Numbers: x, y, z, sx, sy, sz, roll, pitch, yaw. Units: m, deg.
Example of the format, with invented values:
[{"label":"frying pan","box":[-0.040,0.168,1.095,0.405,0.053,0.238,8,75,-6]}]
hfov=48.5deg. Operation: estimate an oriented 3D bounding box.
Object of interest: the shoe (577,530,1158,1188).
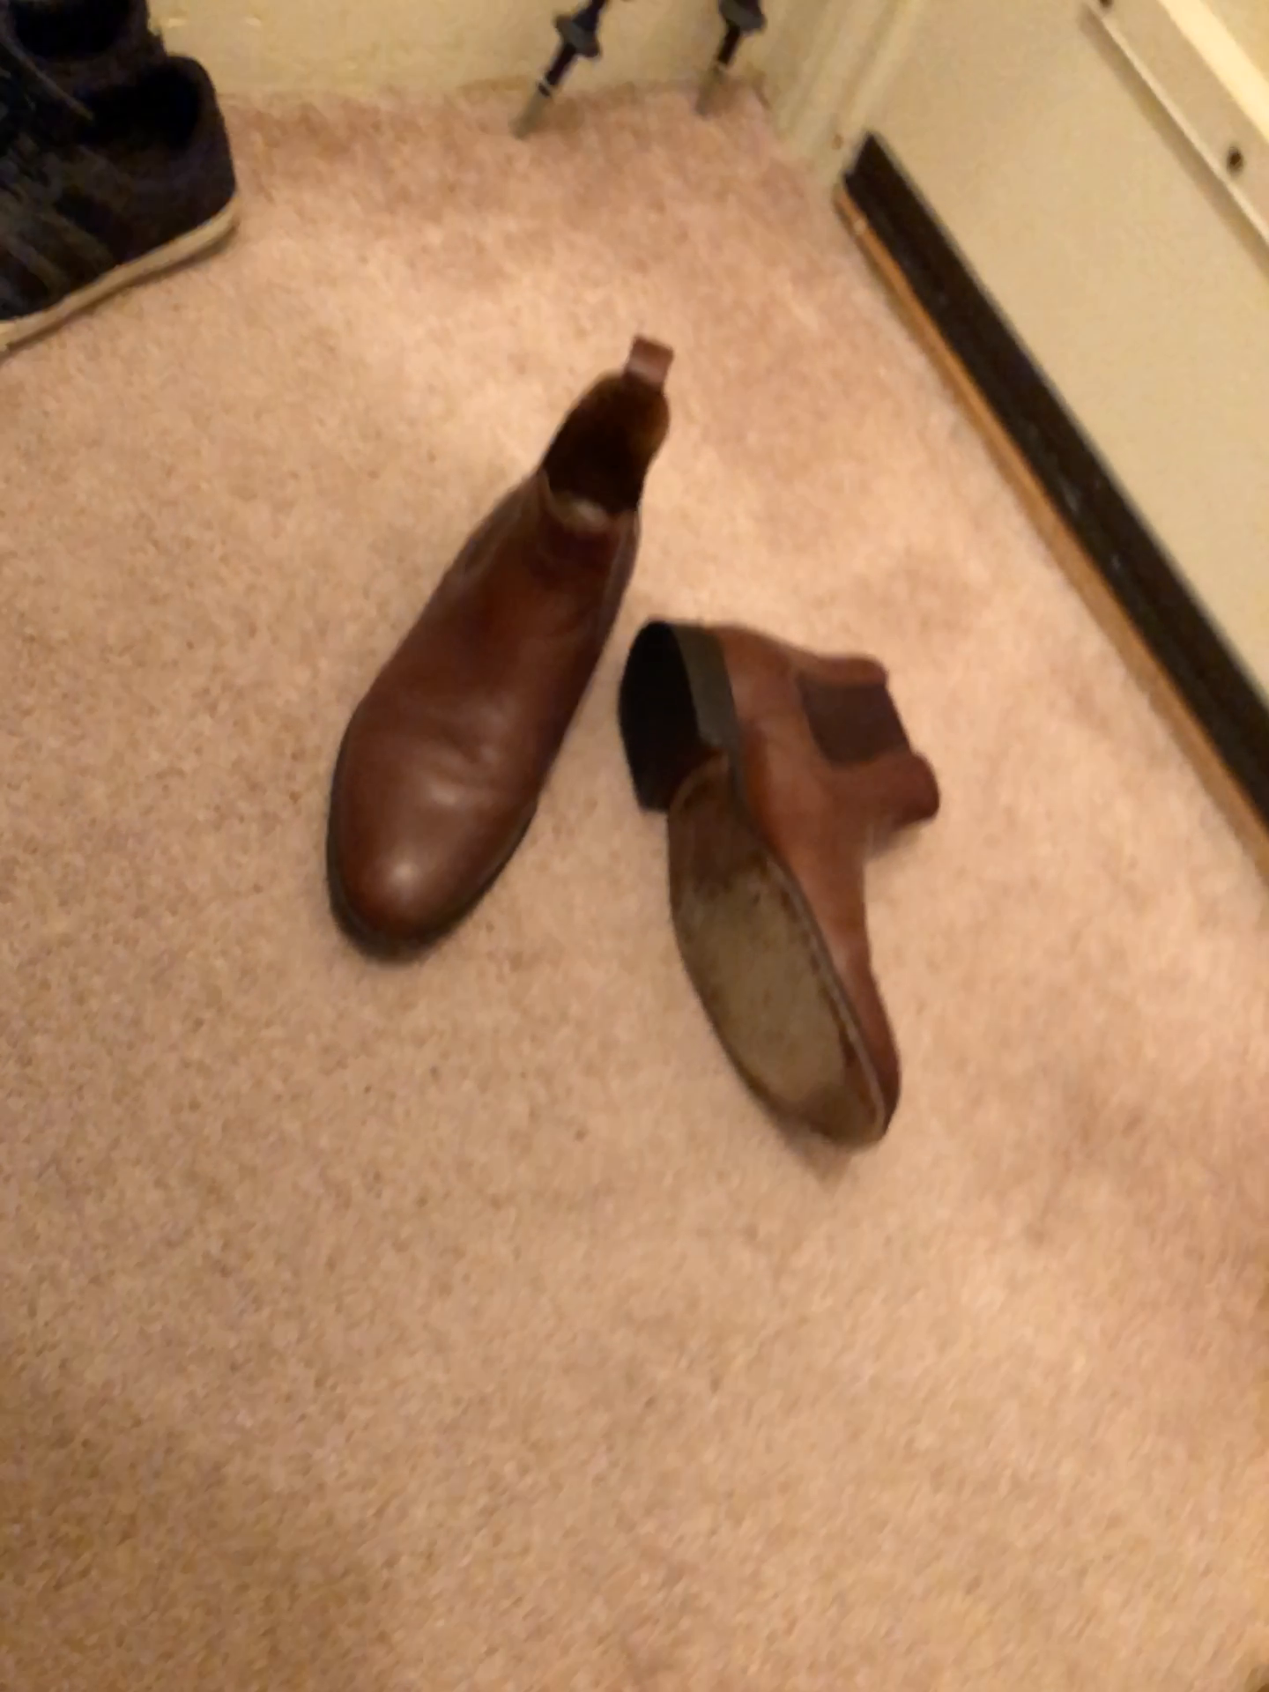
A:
[{"label":"shoe","box":[0.108,-0.001,0.733,0.169,0.118,0.297,-10,69,-25]}]

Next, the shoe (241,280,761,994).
[{"label":"shoe","box":[-0.062,-0.103,0.686,0.109,0.158,0.298,27,58,-5]}]
